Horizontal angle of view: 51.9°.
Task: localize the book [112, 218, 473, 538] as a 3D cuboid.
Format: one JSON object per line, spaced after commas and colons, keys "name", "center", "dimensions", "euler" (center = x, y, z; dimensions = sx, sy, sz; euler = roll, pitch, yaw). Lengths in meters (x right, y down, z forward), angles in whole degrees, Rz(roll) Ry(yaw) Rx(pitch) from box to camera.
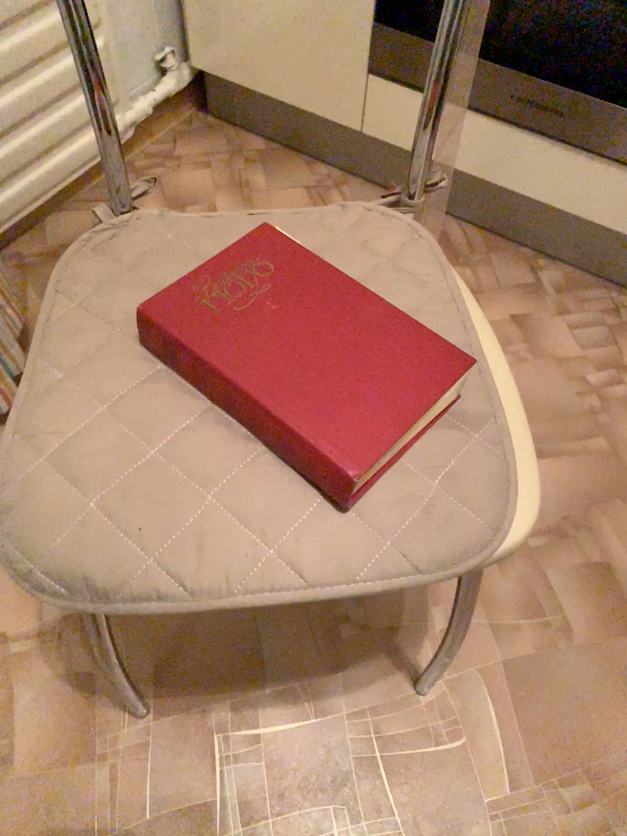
{"name": "book", "center": [-0.016, -0.039, 0.456], "dimensions": [0.201, 0.060, 0.141], "euler": [37, 62, 20]}
